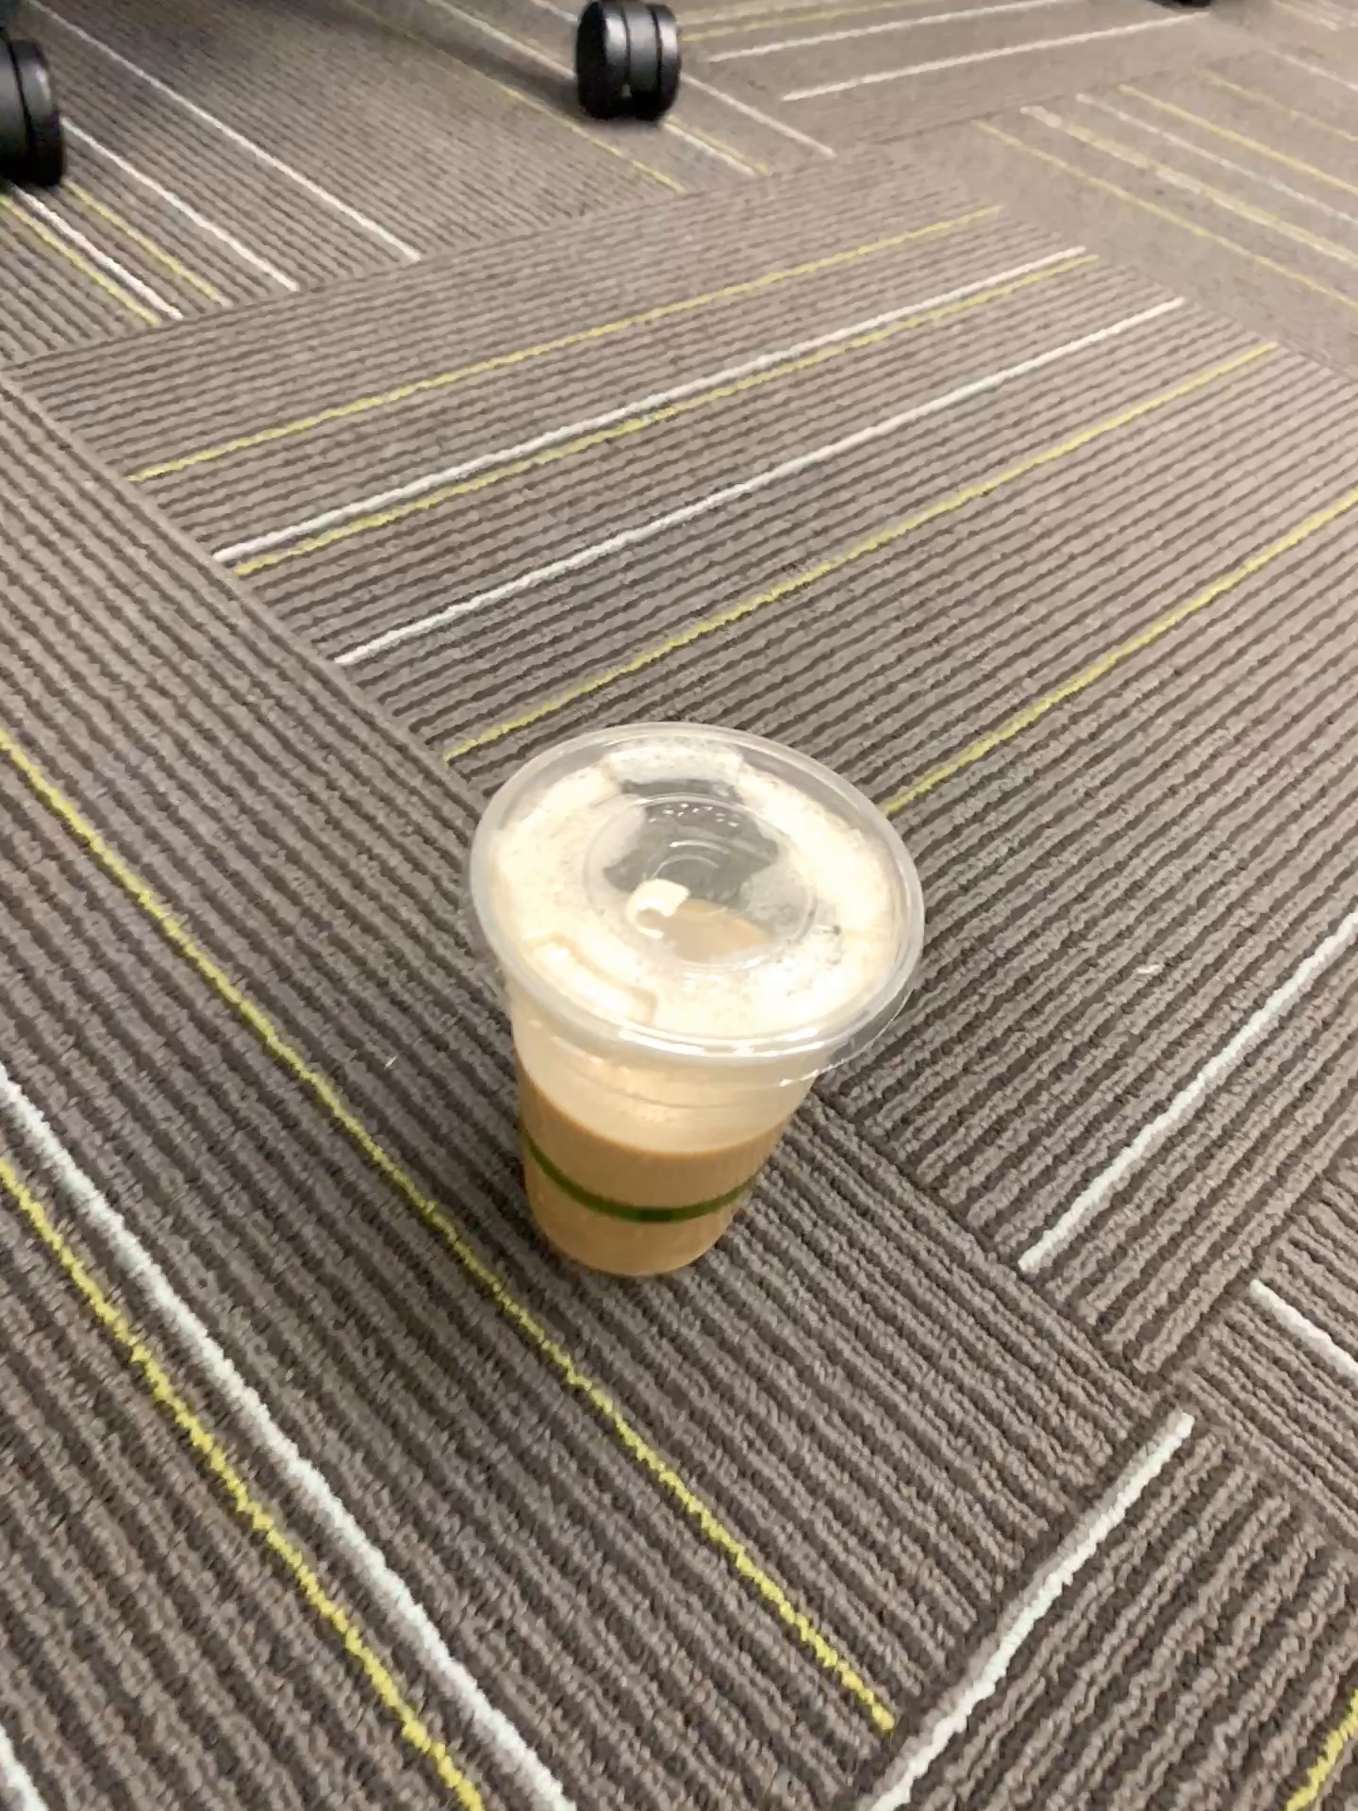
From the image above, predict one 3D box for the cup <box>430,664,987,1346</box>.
[{"bbox_3d":[0.001,0.025,0.327,0.100,0.109,0.101,5,47,-6],"label":"cup"}]
